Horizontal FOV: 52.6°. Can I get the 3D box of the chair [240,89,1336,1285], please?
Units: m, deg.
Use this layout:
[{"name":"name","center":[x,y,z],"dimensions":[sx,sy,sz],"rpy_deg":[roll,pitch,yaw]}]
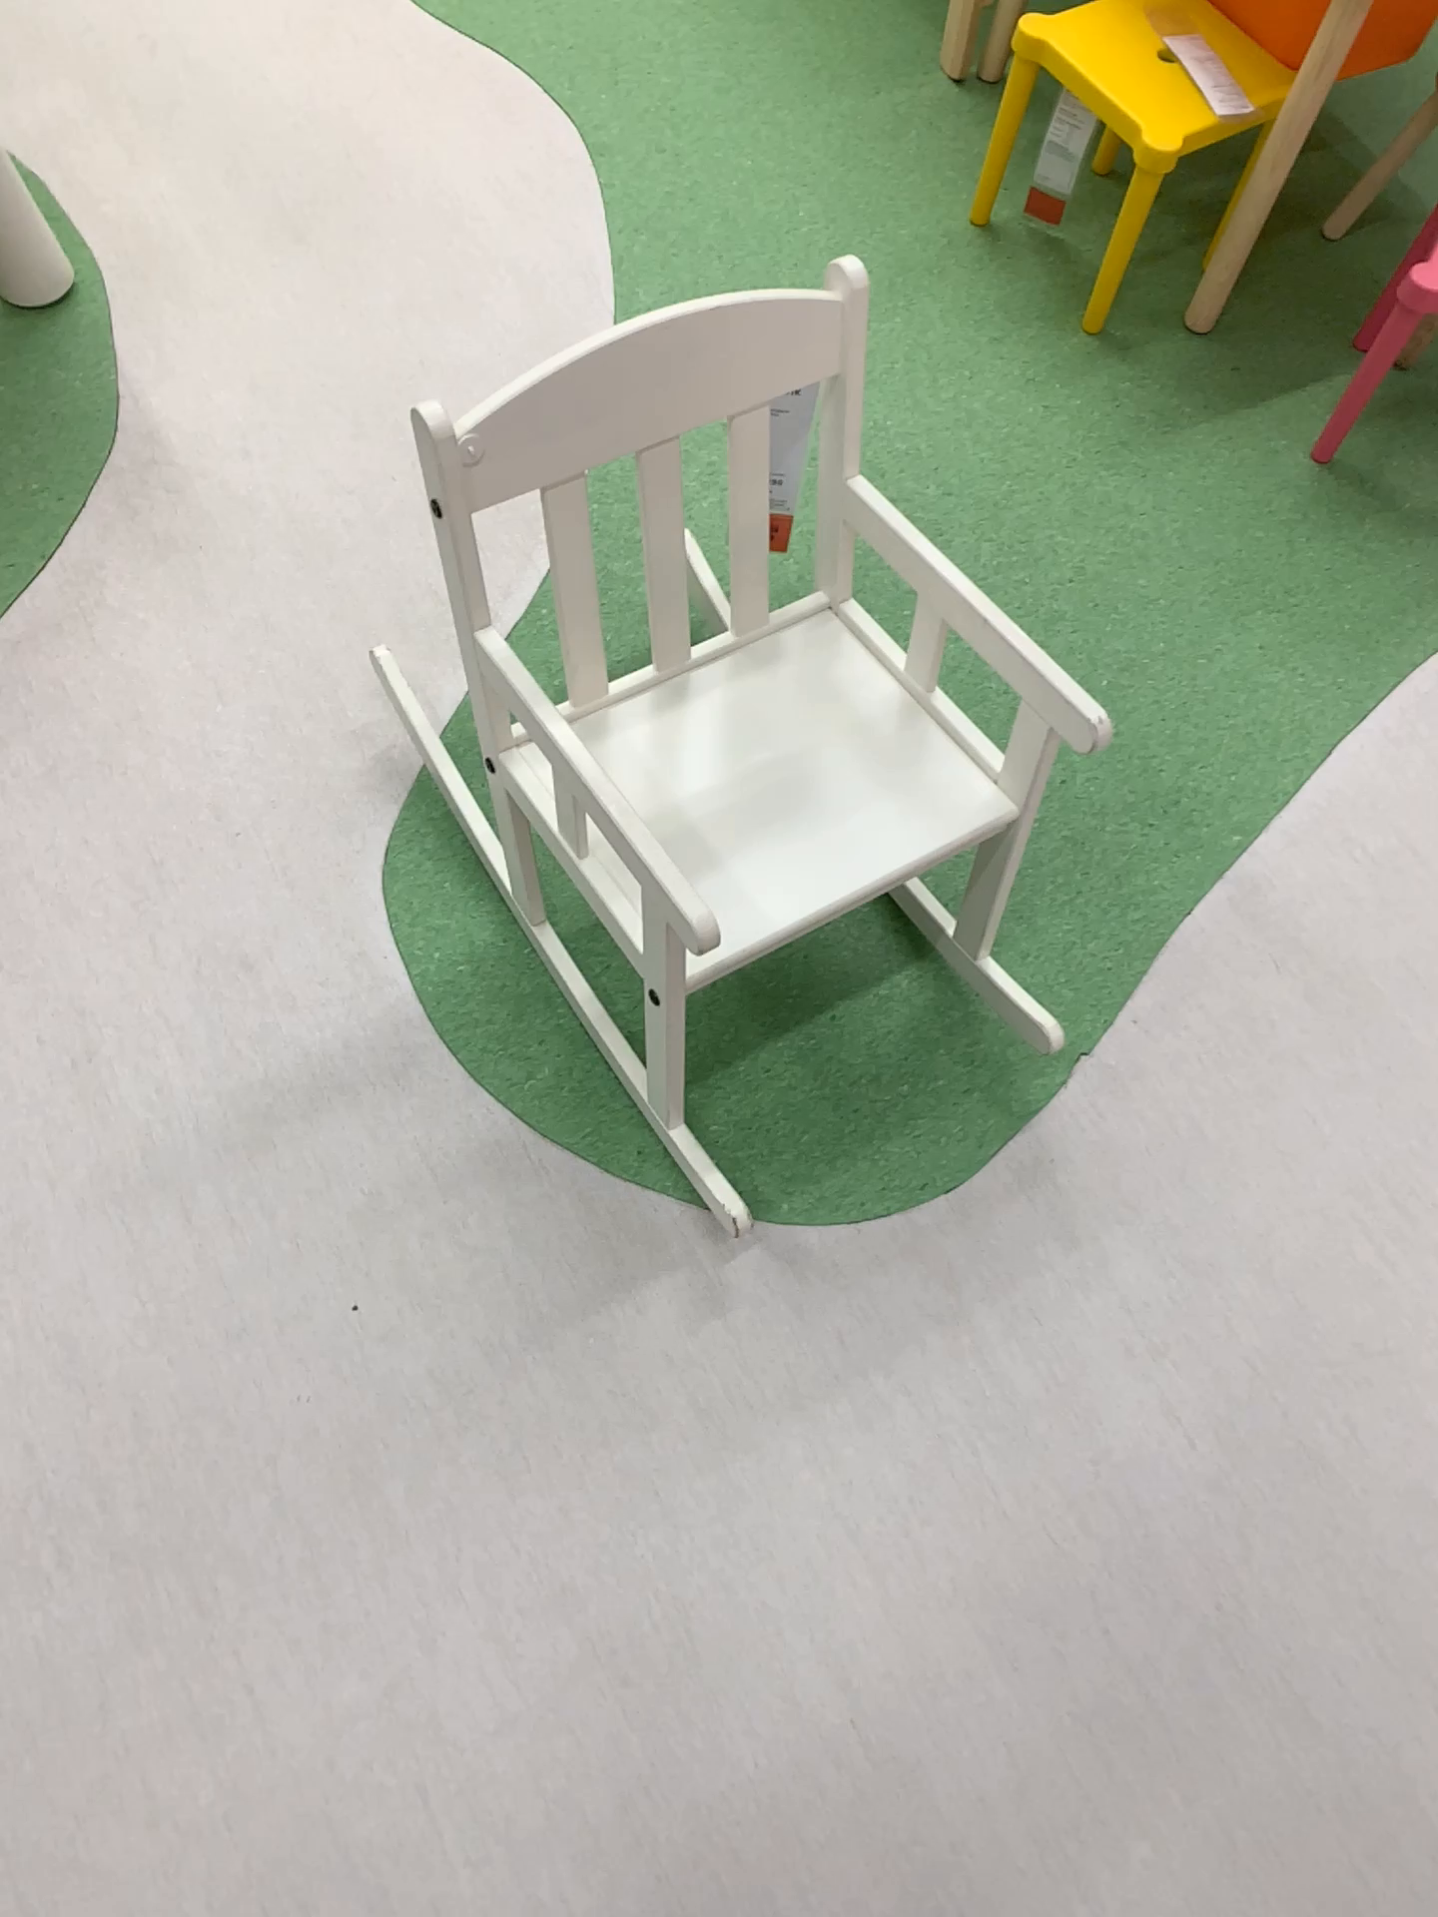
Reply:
[{"name":"chair","center":[0.000,-0.211,1.198],"dimensions":[0.410,0.499,0.731],"rpy_deg":[-27,69,-18]}]
